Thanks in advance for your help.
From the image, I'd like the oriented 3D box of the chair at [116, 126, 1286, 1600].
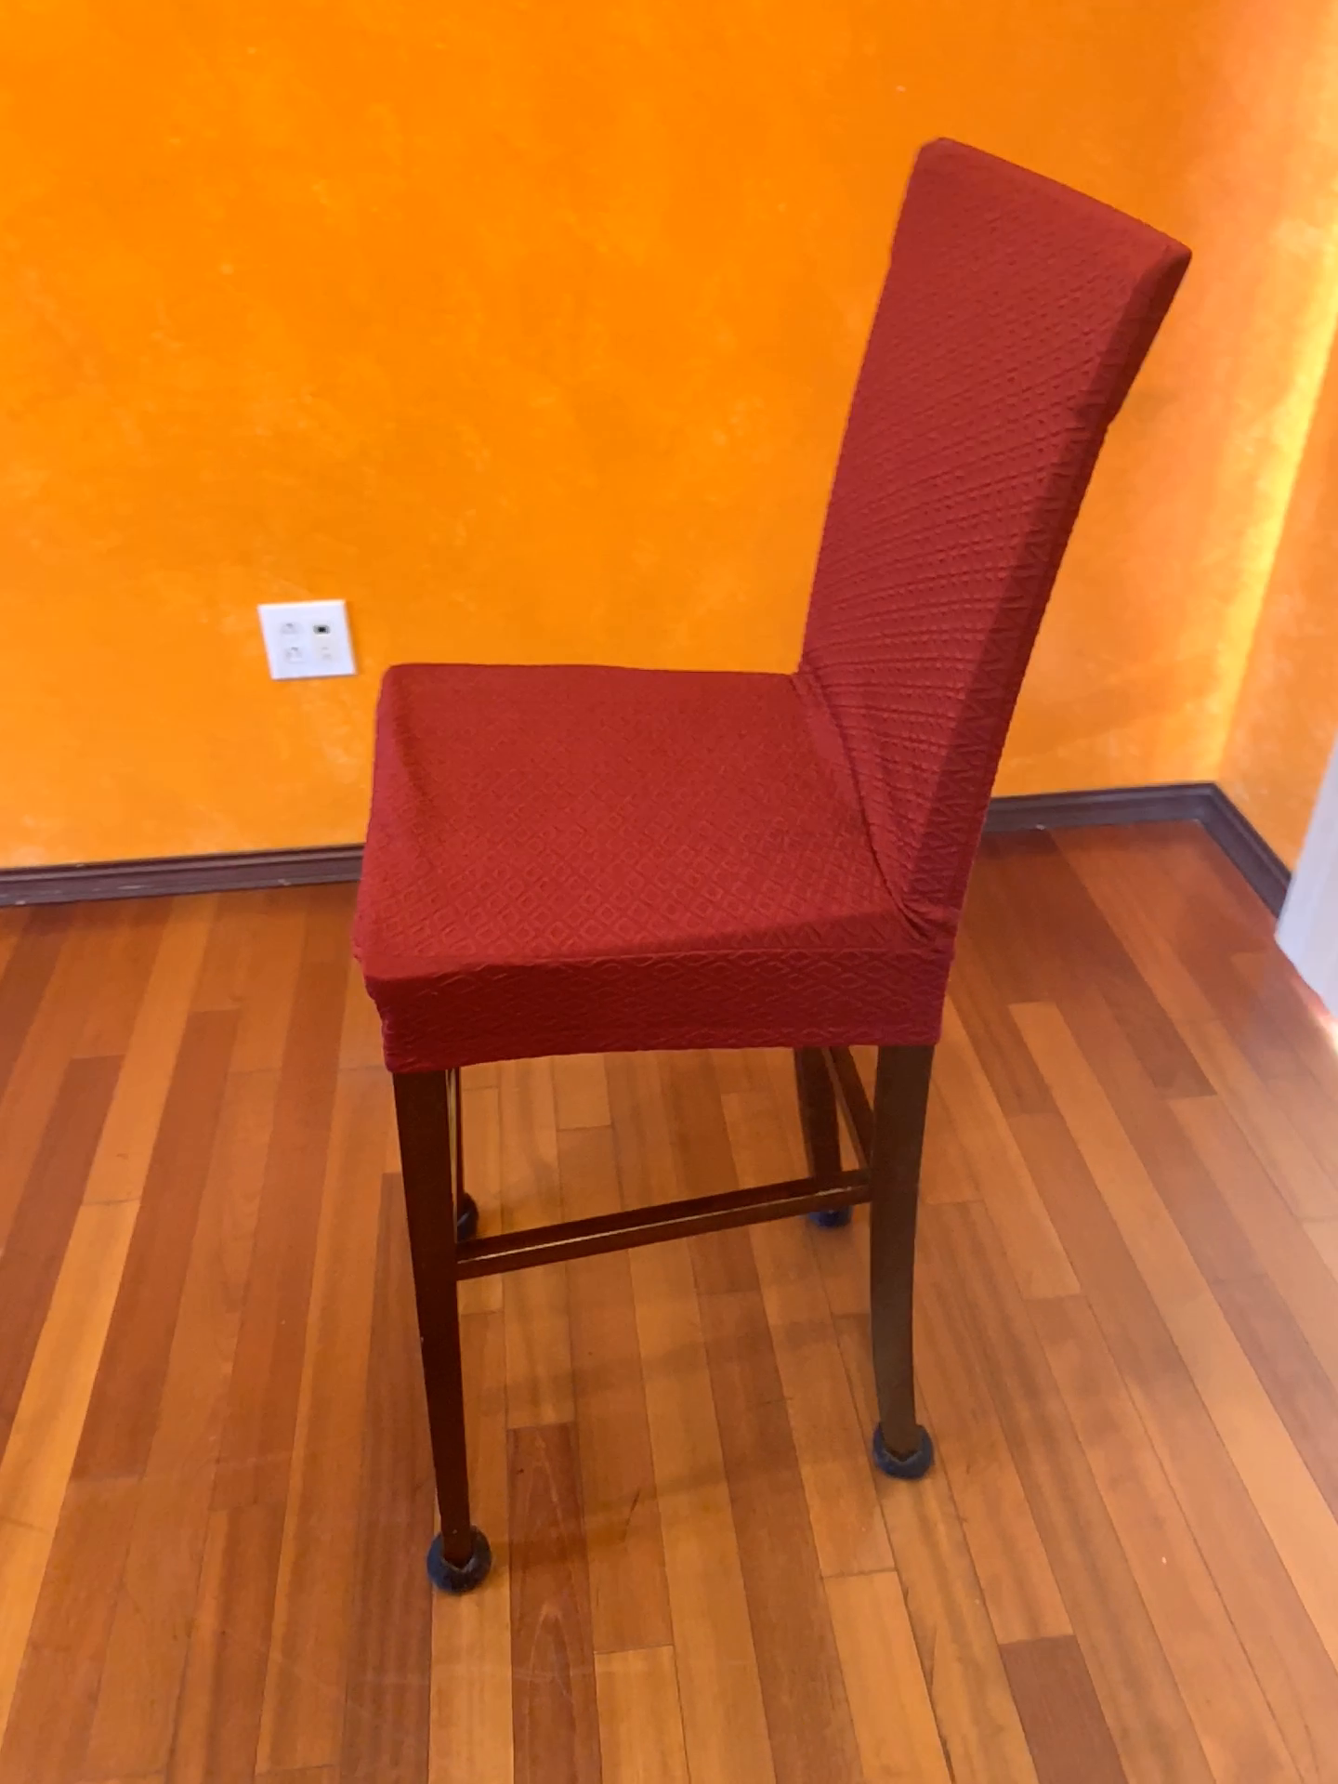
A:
[{"bbox_3d":[-0.011,0.016,1.080,0.509,1.027,0.468,-4,35,-6],"label":"chair"}]
